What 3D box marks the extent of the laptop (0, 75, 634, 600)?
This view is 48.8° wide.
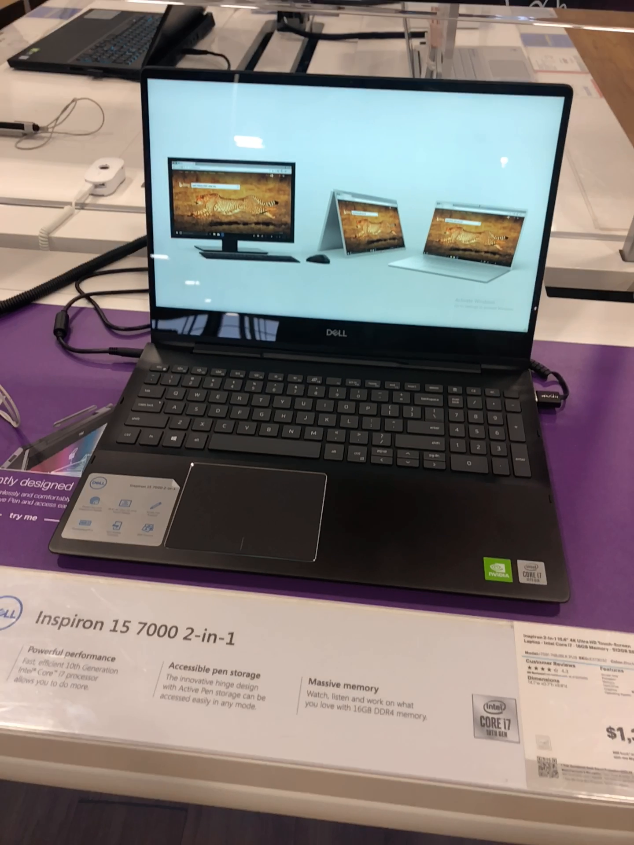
[{"bbox_3d":[0.009,-0.085,0.512,0.340,0.207,0.325,5,43,4],"label":"laptop"}]
